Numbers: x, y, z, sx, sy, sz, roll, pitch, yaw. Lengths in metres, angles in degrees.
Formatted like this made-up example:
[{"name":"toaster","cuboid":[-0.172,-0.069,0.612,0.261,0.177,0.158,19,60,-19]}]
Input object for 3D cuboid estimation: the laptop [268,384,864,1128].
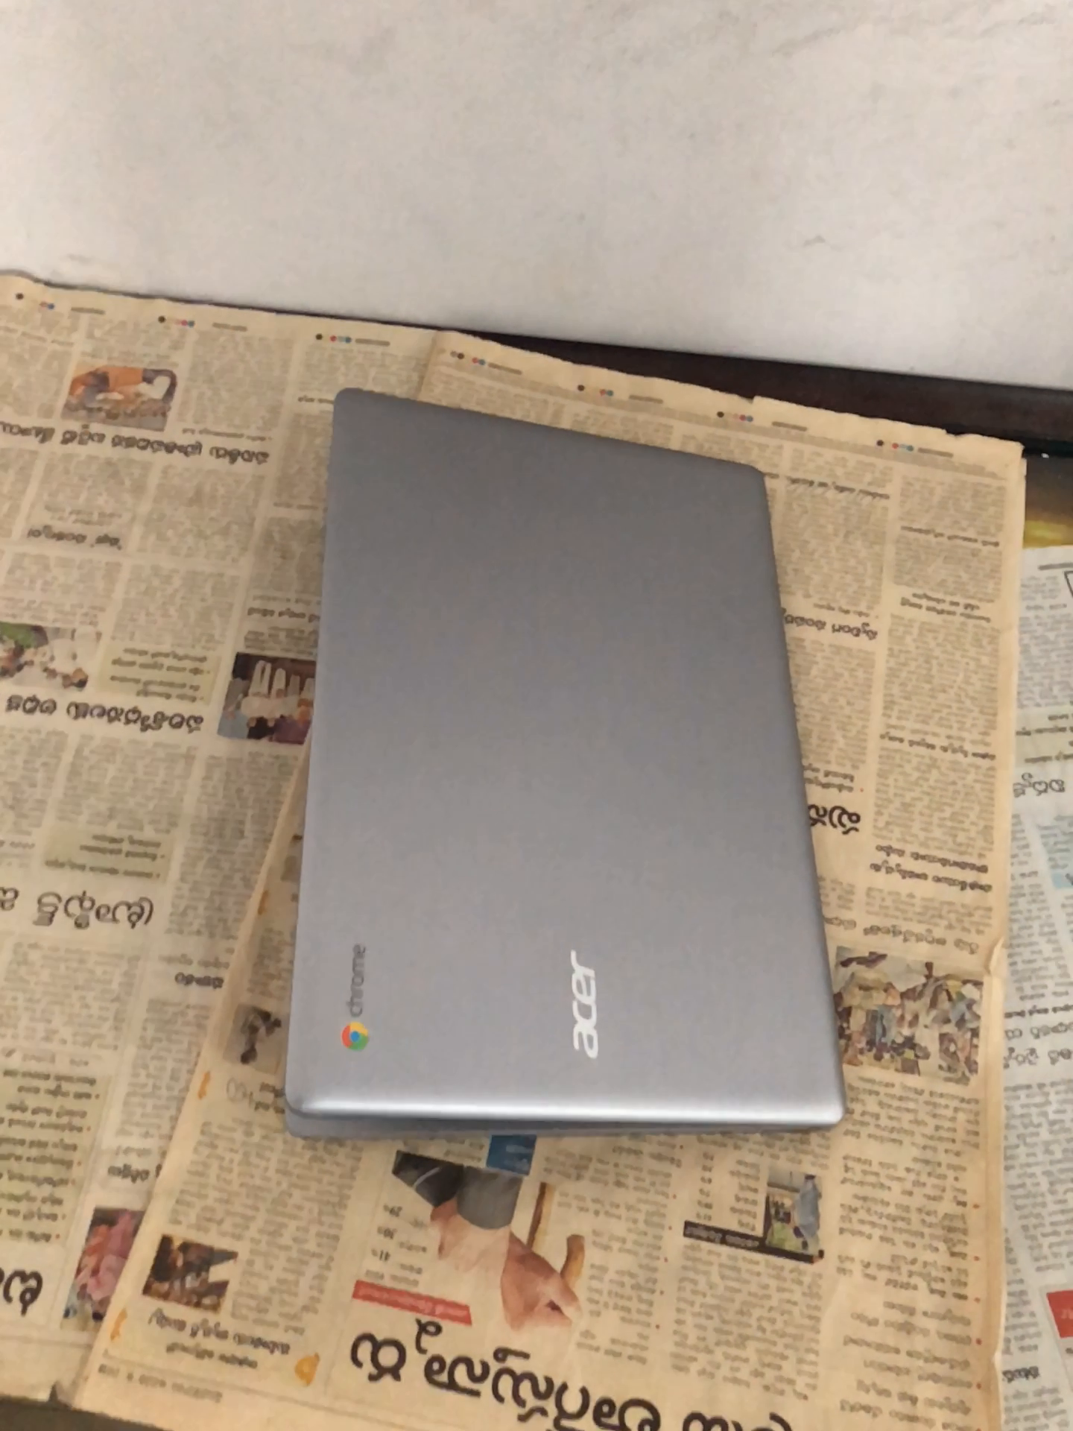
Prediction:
[{"name":"laptop","cuboid":[0.007,0.003,0.519,0.210,0.058,0.331,0,63,-2]}]
